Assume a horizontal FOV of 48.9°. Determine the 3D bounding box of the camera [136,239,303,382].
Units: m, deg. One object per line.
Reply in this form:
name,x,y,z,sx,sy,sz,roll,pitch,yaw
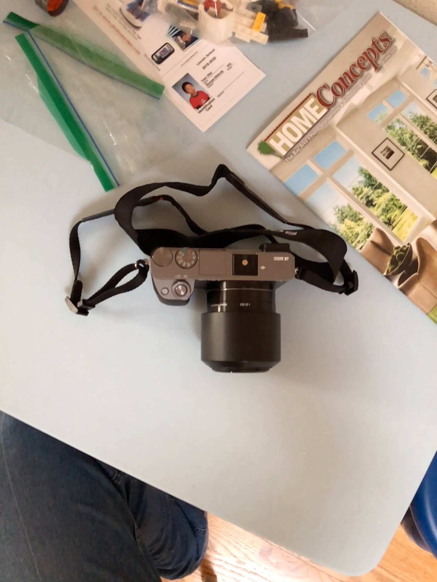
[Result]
camera,0.000,0.019,0.416,0.130,0.070,0.110,2,83,-4
